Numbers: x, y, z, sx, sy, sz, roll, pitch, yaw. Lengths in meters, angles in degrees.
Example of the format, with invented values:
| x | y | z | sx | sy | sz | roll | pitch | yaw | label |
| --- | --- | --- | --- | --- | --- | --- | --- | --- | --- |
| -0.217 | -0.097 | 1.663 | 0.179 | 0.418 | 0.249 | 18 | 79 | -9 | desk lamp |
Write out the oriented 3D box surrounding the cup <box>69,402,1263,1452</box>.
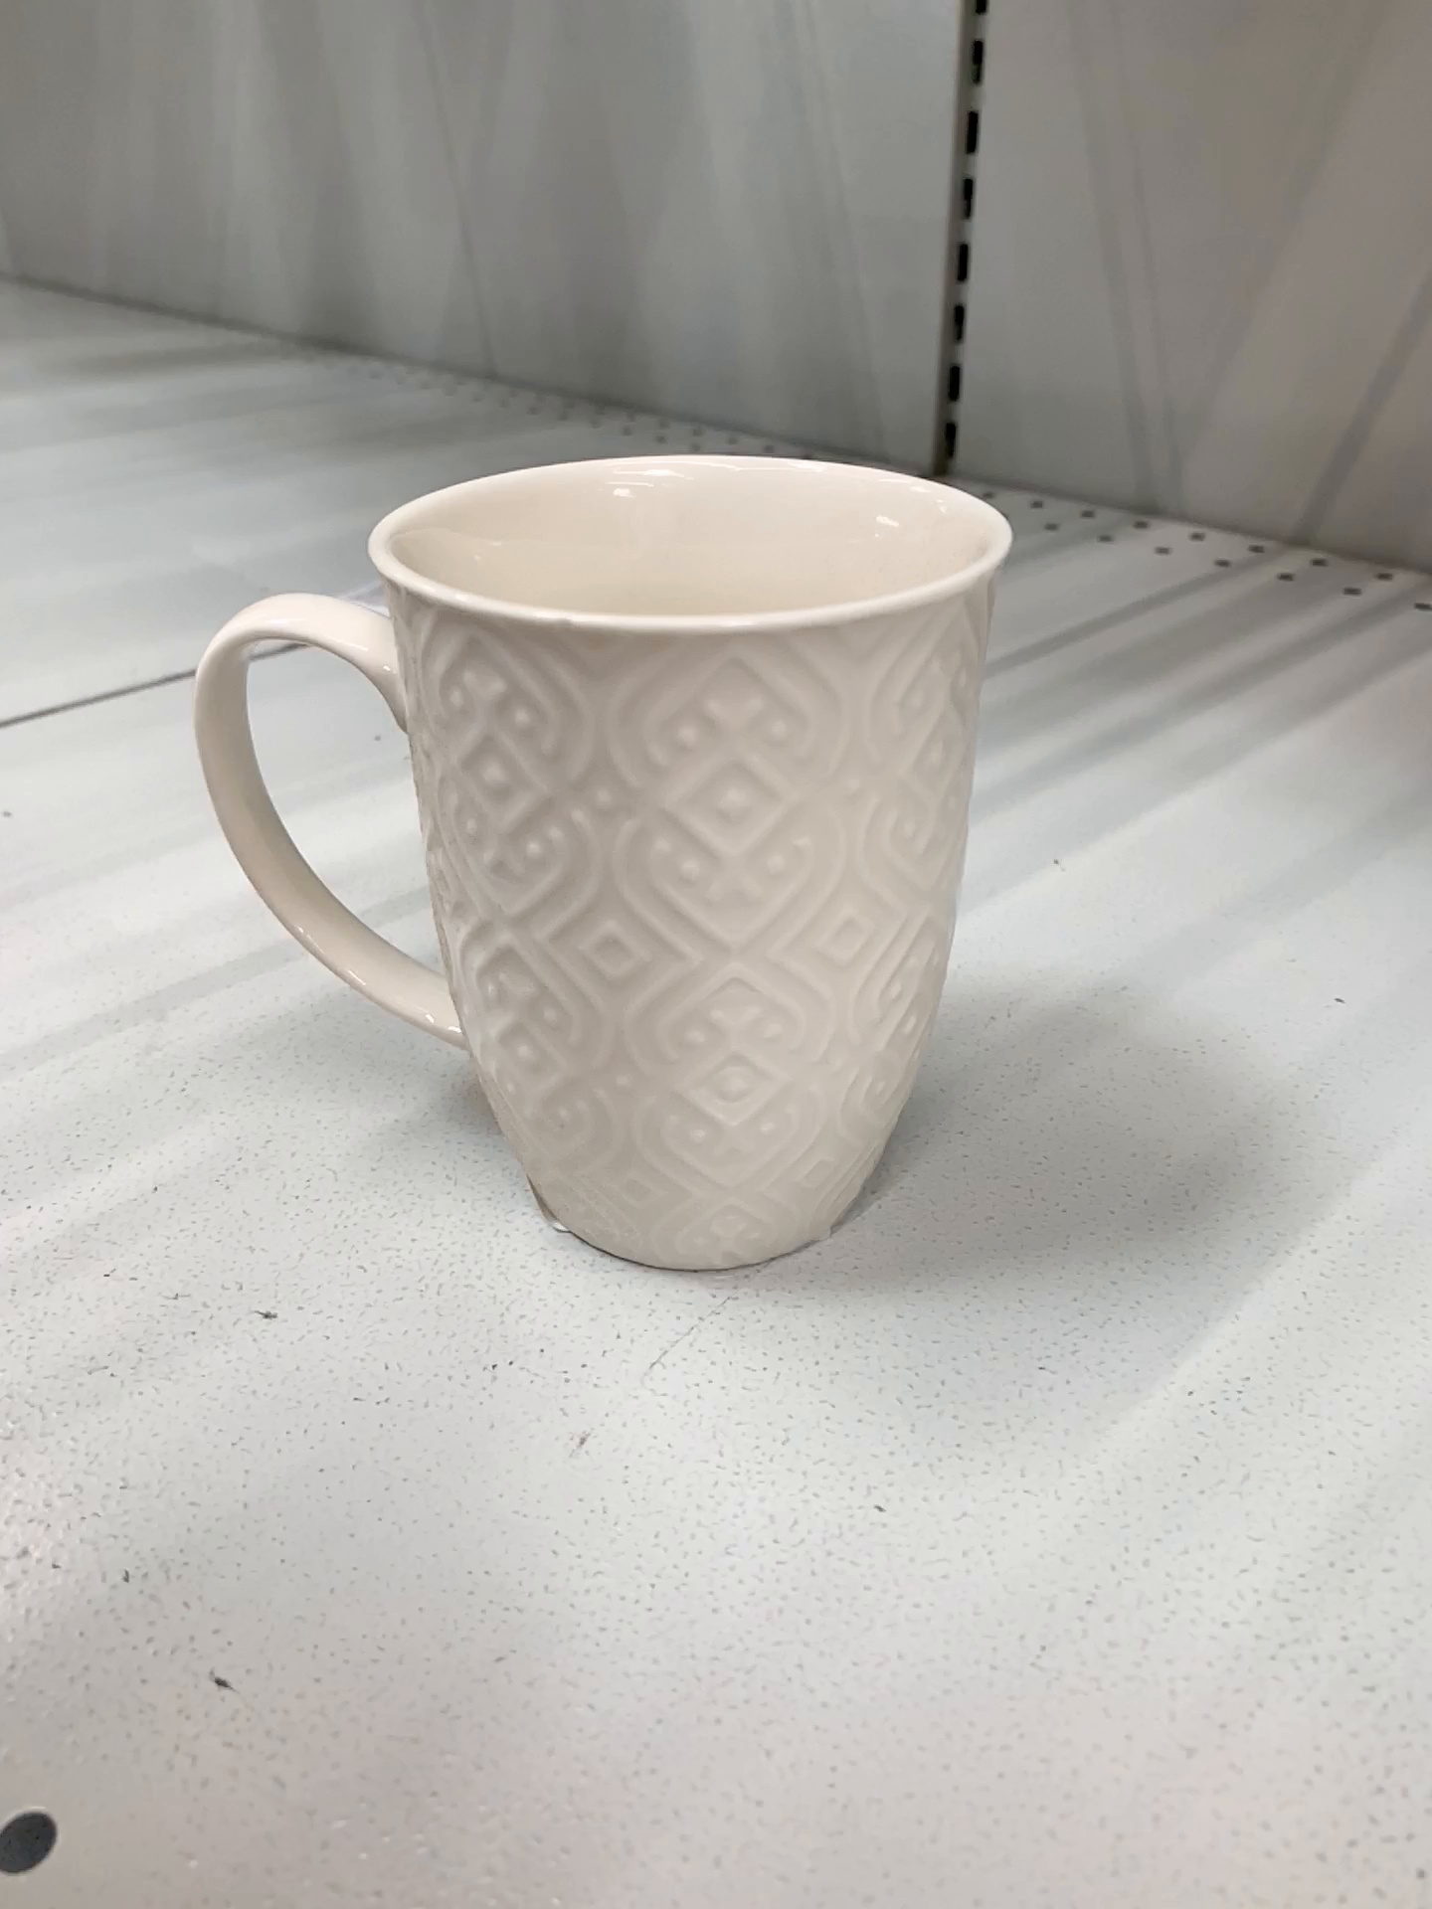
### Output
| x | y | z | sx | sy | sz | roll | pitch | yaw | label |
| --- | --- | --- | --- | --- | --- | --- | --- | --- | --- |
| -0.005 | -0.018 | 0.224 | 0.132 | 0.098 | 0.092 | 18 | 34 | 28 | cup |
